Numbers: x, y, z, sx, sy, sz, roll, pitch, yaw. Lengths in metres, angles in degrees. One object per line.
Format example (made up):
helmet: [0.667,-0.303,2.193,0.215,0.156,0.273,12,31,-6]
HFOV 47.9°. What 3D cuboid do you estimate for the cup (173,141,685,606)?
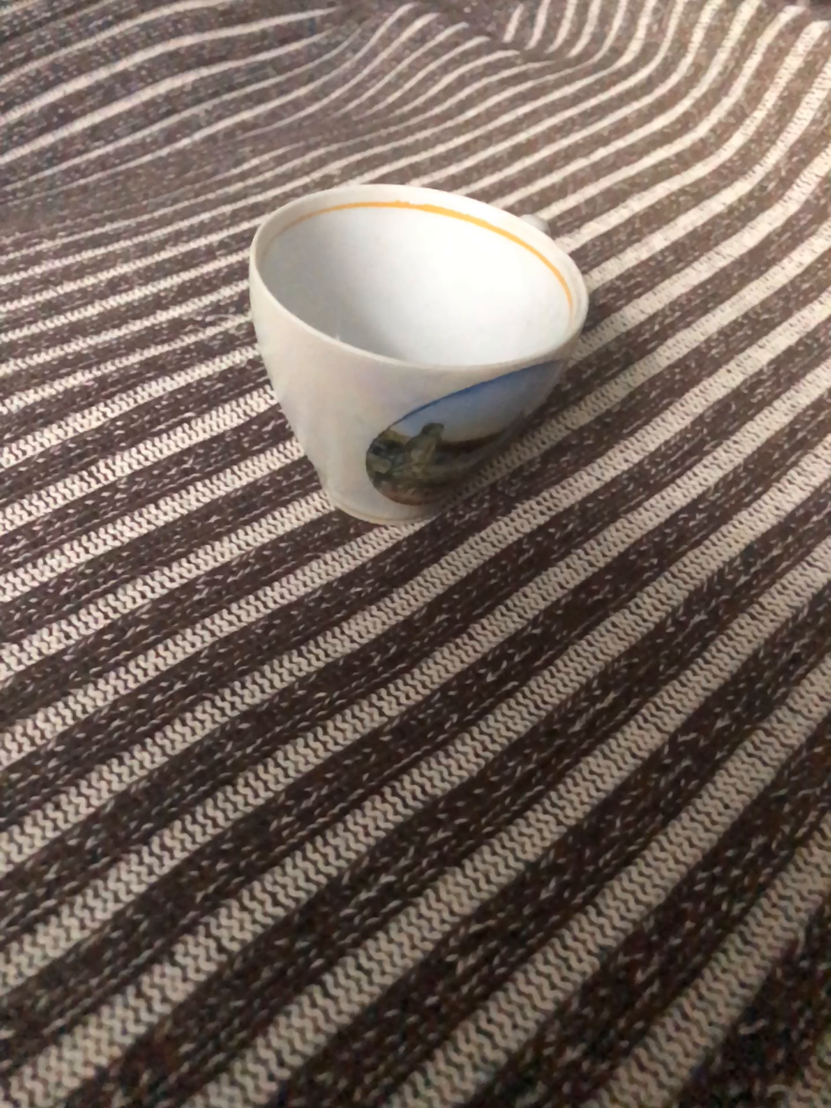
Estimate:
cup: [0.003,-0.041,0.190,0.061,0.041,0.079,36,51,19]
